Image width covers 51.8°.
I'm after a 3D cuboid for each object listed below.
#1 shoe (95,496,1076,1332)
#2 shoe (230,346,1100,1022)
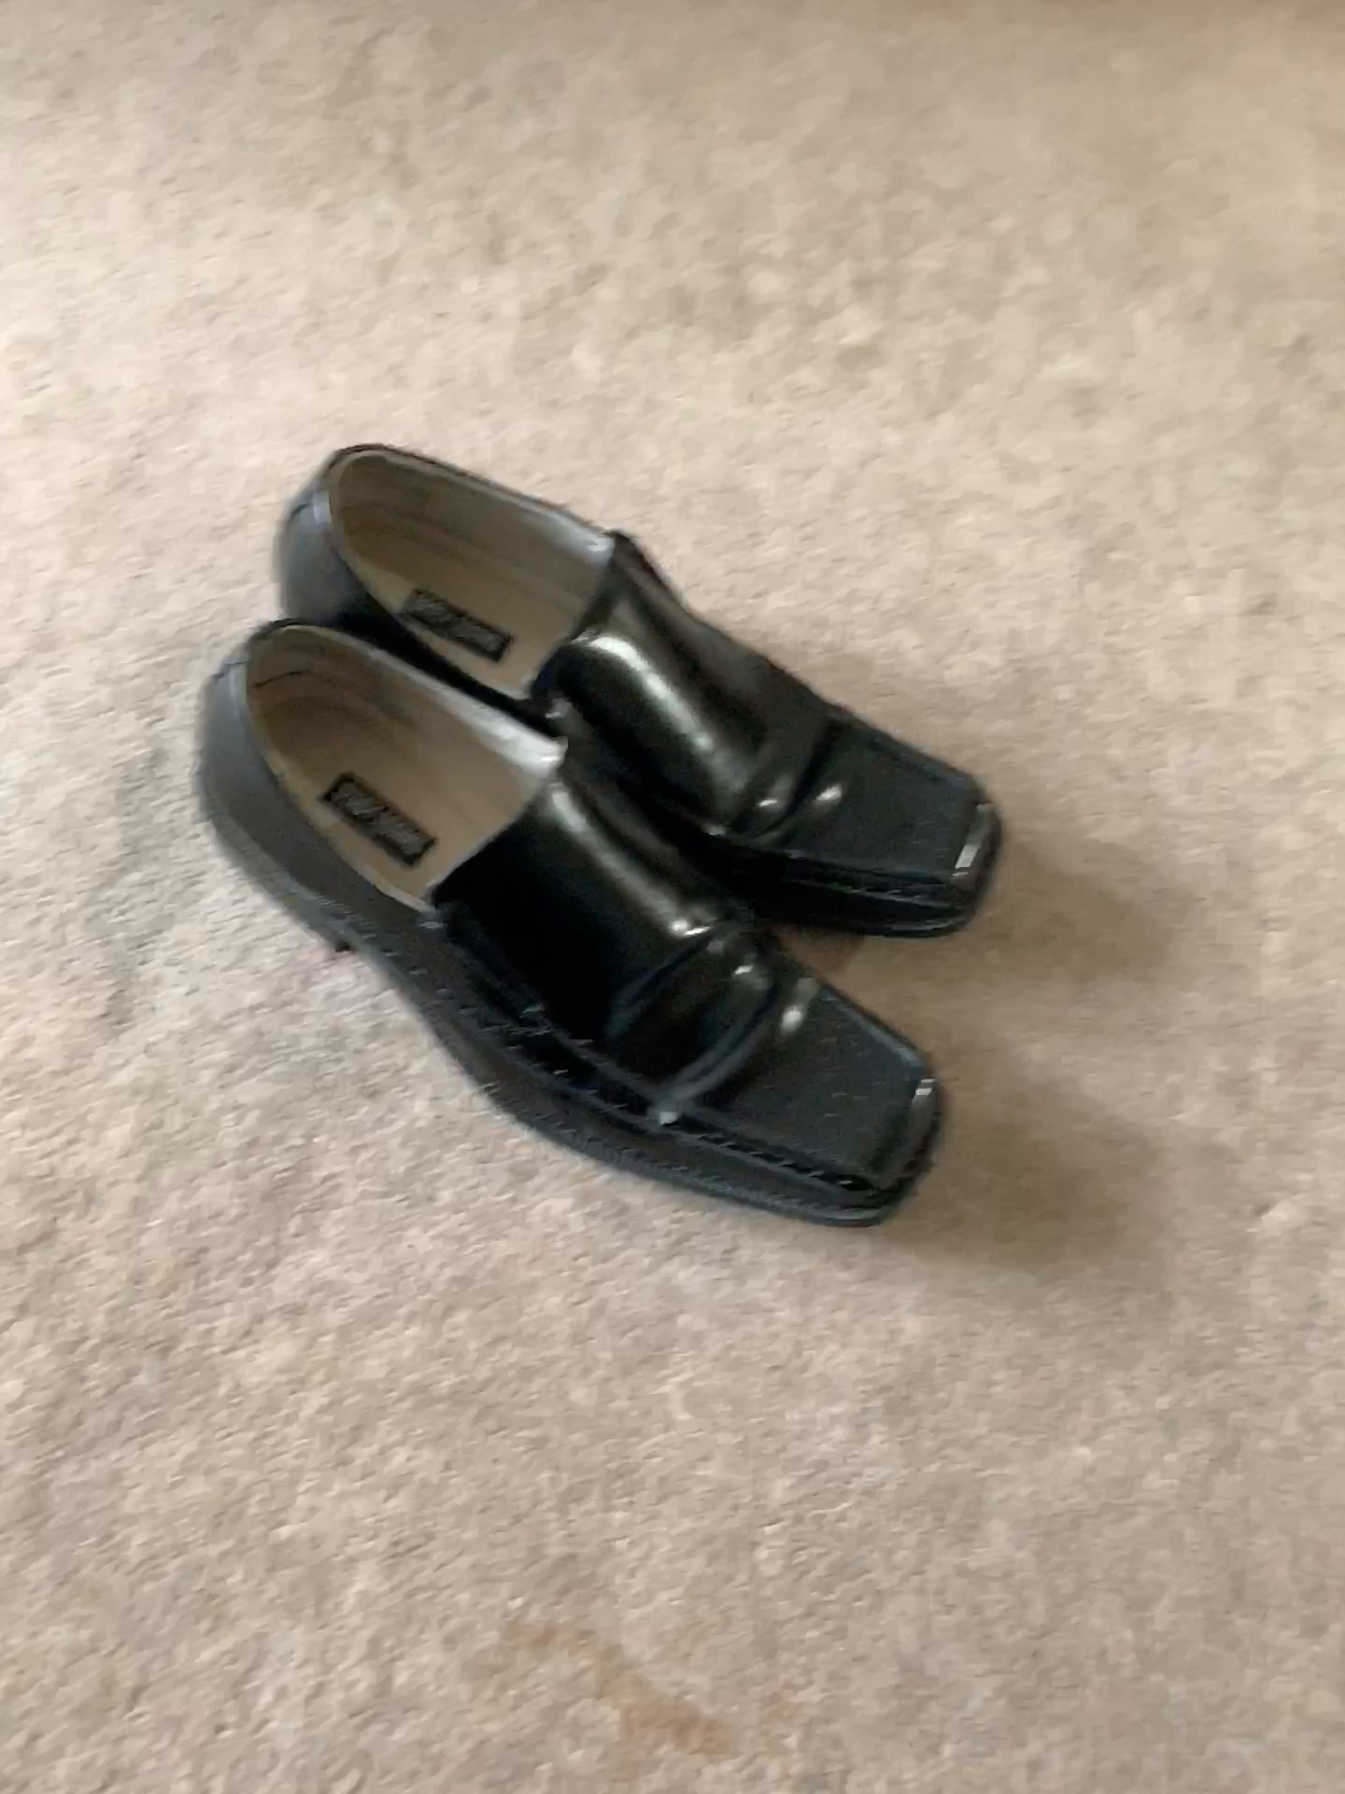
[{"bbox_3d":[-0.036,0.009,0.510,0.320,0.119,0.111,34,64,7],"label":"shoe"},{"bbox_3d":[-0.007,-0.083,0.569,0.310,0.119,0.111,25,63,3],"label":"shoe"}]
